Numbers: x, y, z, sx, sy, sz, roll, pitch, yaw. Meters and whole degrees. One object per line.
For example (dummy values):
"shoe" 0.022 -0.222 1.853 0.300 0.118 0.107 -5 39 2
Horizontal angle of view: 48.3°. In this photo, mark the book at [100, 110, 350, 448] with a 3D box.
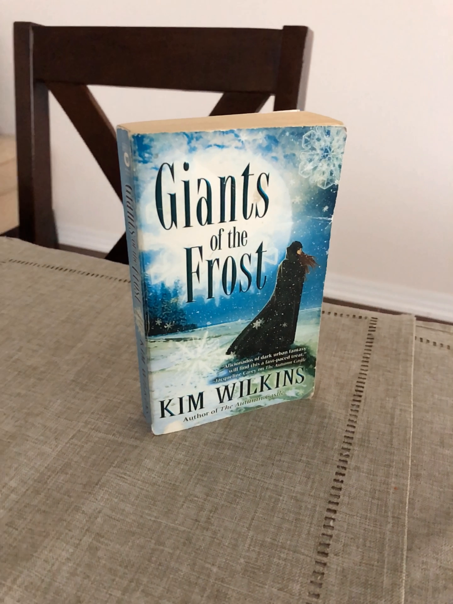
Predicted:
"book" -0.001 -0.012 0.280 0.111 0.168 0.043 -11 30 -21
